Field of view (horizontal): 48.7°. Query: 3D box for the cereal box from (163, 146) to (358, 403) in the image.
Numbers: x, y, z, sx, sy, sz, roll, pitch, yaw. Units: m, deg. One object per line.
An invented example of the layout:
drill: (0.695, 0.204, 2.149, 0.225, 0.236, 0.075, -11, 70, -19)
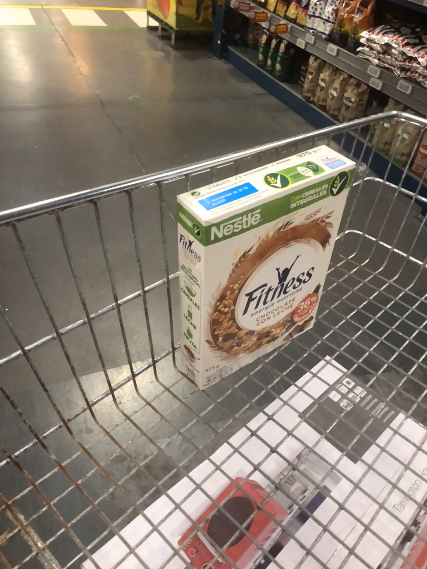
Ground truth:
cereal box: (0.047, -0.005, 0.552, 0.200, 0.259, 0.060, -25, 49, -27)
